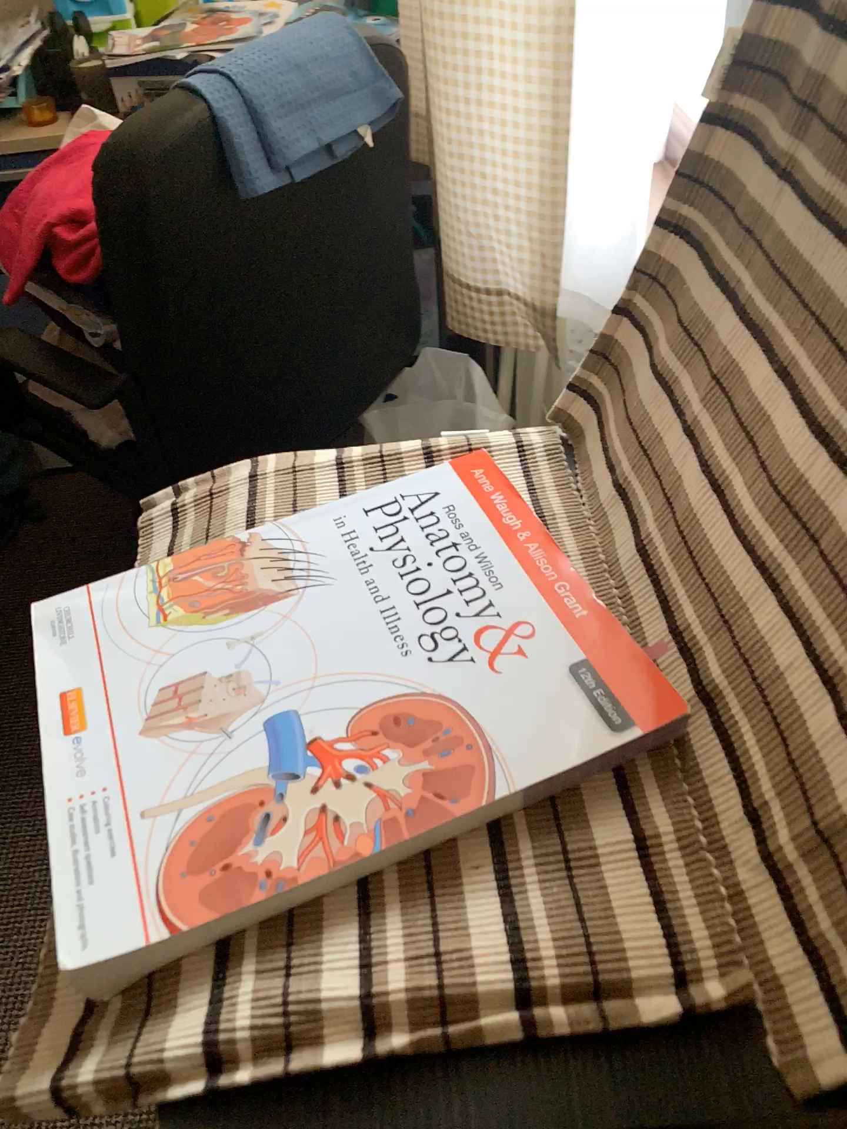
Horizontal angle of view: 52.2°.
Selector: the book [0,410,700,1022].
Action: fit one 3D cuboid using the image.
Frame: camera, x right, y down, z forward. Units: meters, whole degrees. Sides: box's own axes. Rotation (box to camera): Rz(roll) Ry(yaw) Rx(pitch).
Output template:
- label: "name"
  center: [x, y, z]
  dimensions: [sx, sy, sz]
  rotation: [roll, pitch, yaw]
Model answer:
- label: "book"
  center: [-0.056, 0.041, 0.433]
  dimensions: [0.280, 0.040, 0.242]
  rotation: [-20, 46, -13]
